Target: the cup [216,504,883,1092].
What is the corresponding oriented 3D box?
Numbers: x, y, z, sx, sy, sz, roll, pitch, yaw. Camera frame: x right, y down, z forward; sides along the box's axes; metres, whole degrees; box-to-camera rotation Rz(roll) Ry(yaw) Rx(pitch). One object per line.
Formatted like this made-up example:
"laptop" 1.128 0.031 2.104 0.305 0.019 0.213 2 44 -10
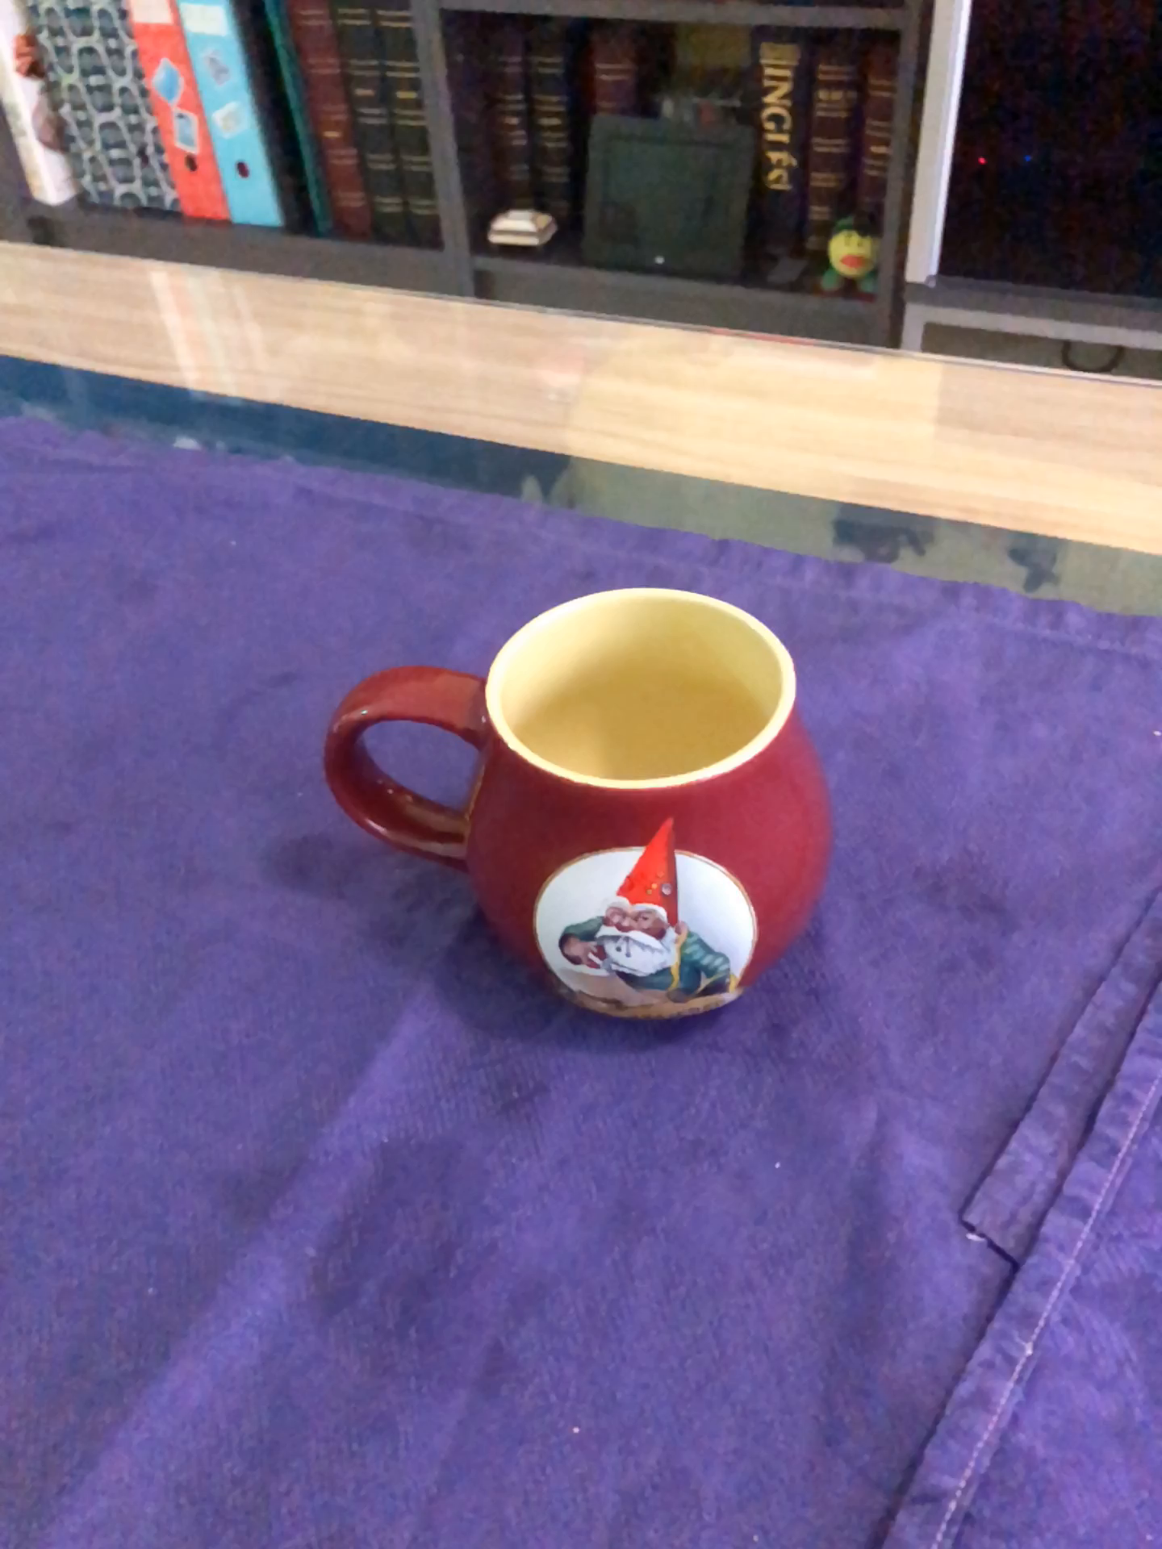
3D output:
"cup" 0.001 0.003 0.295 0.120 0.090 0.080 7 45 13
